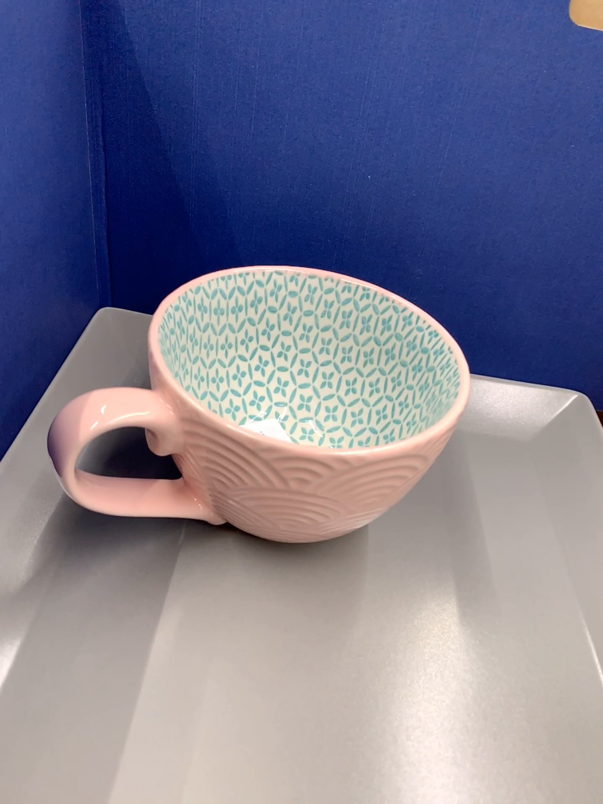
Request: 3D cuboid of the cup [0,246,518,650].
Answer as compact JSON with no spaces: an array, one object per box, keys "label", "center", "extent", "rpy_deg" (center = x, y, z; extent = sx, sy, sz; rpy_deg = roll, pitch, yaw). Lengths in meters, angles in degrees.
[{"label":"cup","center":[-0.019,0.003,0.236],"extent":[0.150,0.064,0.105],"rpy_deg":[-13,51,-28]}]
